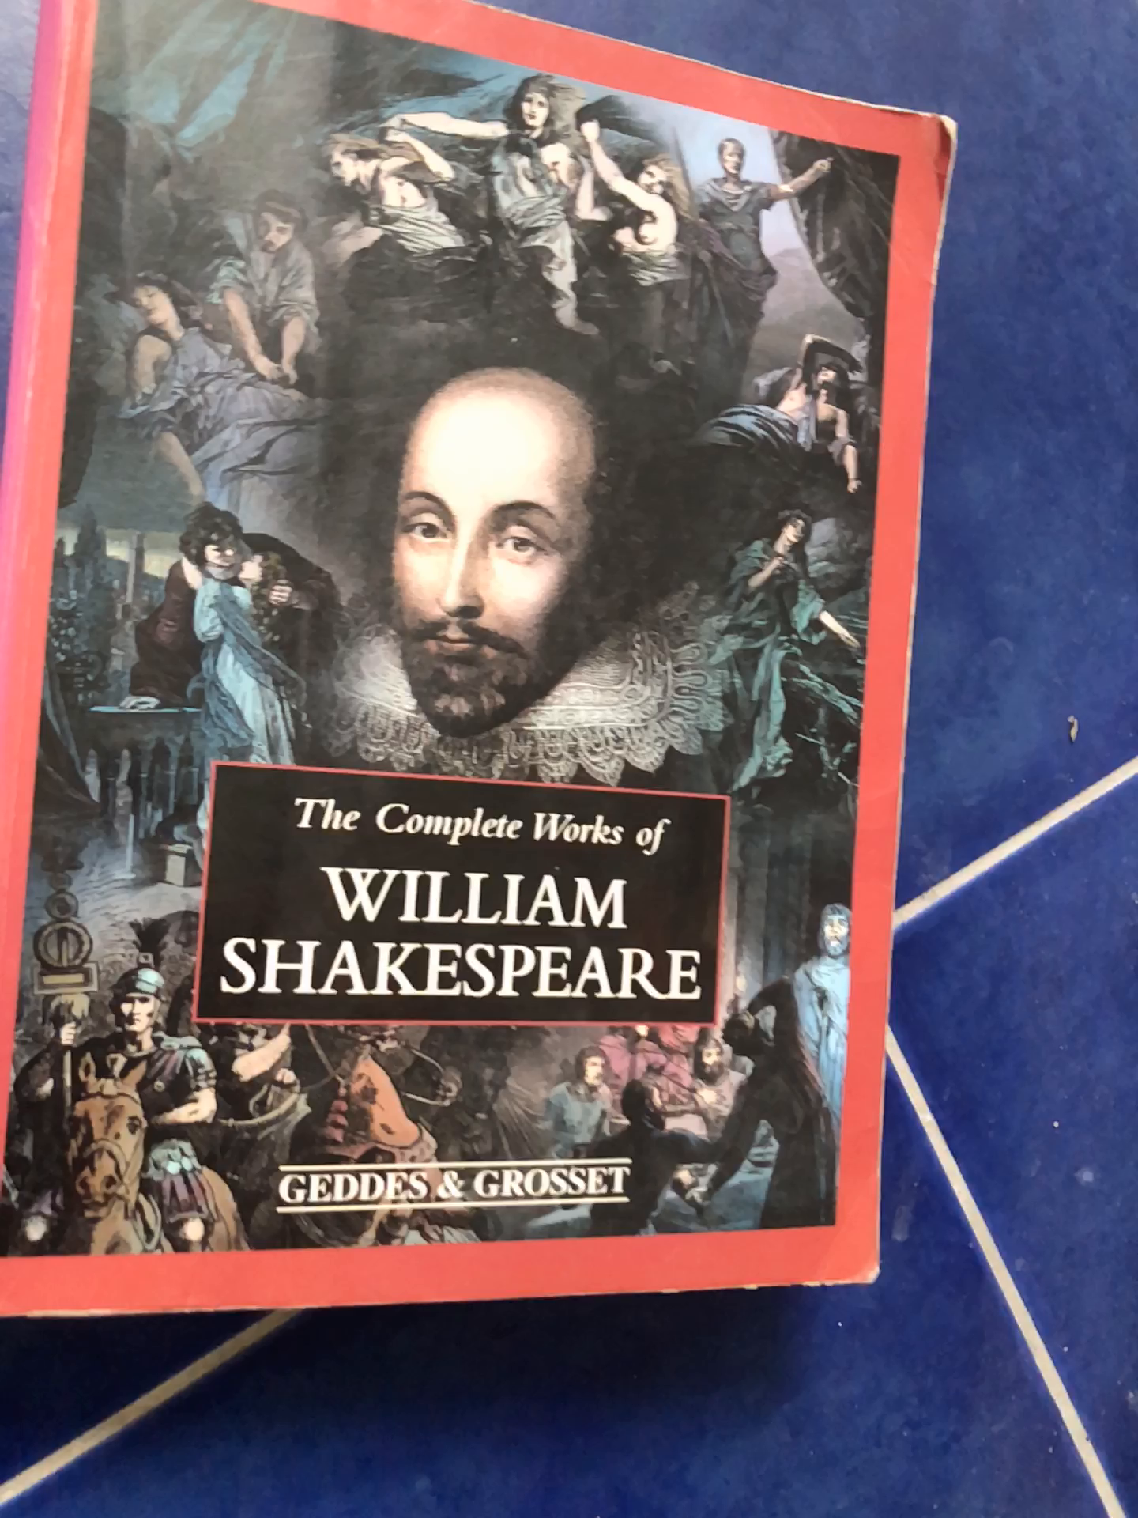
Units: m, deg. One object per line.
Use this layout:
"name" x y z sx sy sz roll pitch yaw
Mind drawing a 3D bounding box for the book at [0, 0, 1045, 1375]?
"book" -0.011 -0.022 0.277 0.210 0.060 0.270 5 88 -17
